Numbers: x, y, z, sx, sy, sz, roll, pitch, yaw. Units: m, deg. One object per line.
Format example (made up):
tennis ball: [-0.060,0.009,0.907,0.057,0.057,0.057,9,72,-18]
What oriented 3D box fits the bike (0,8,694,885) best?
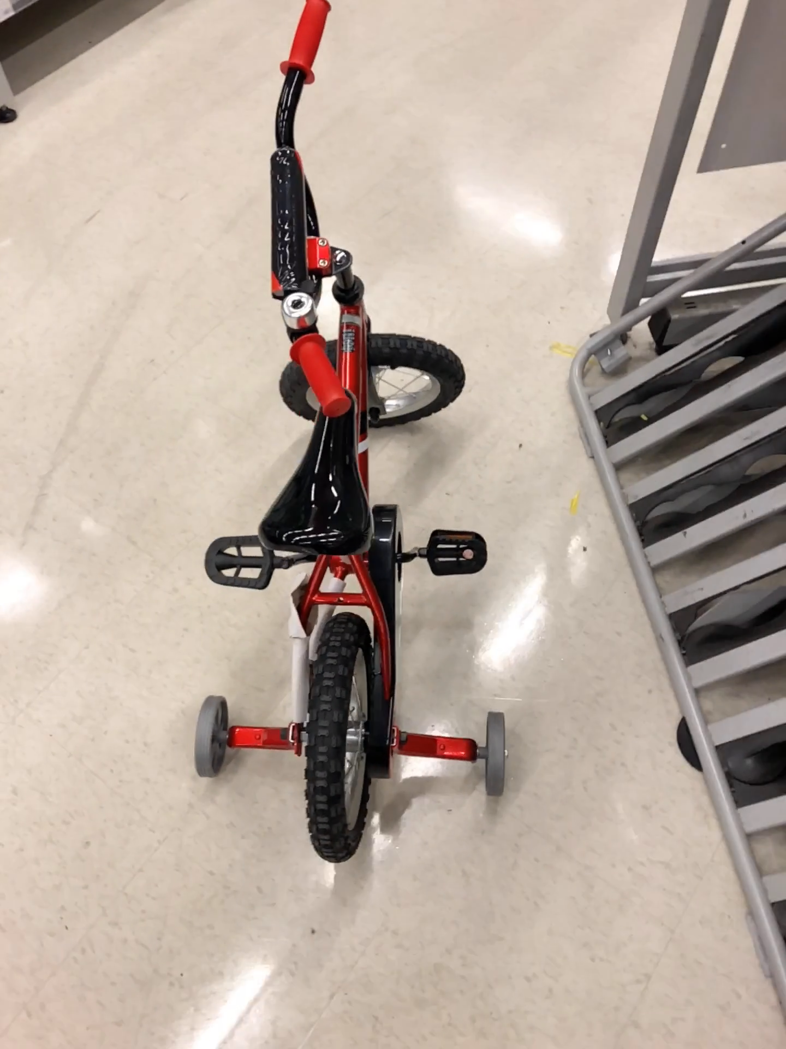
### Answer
bike: [-0.119,-0.038,0.996,0.531,0.679,0.701,-6,58,-2]
